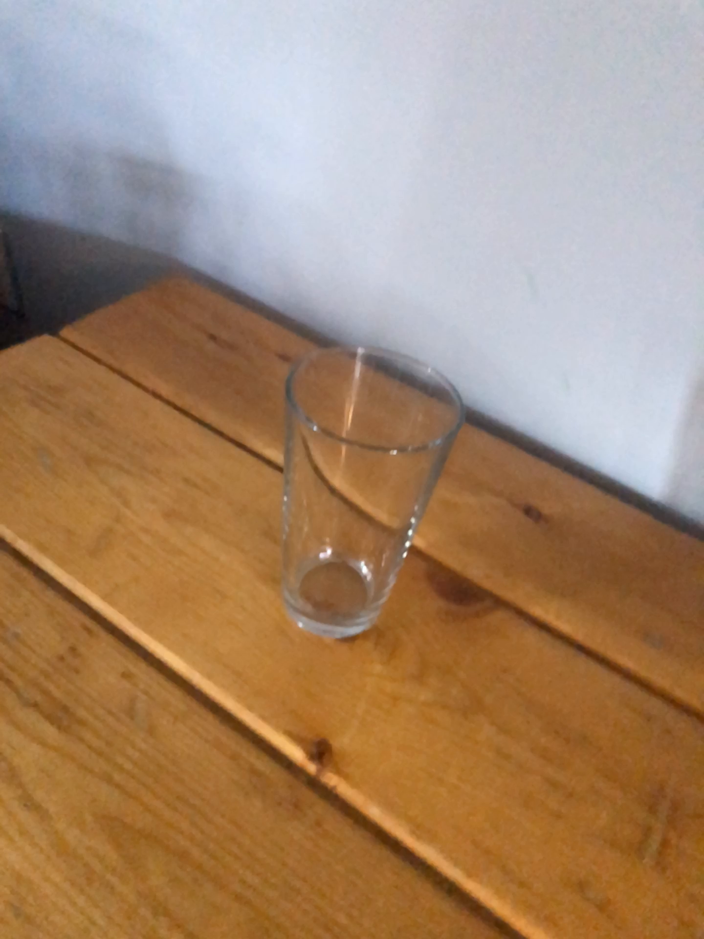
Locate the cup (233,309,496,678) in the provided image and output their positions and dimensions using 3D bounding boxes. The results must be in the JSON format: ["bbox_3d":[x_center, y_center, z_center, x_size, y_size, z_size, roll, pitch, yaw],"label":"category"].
[{"bbox_3d":[0.002,0.014,0.413,0.090,0.150,0.090,6,41,-5],"label":"cup"}]
